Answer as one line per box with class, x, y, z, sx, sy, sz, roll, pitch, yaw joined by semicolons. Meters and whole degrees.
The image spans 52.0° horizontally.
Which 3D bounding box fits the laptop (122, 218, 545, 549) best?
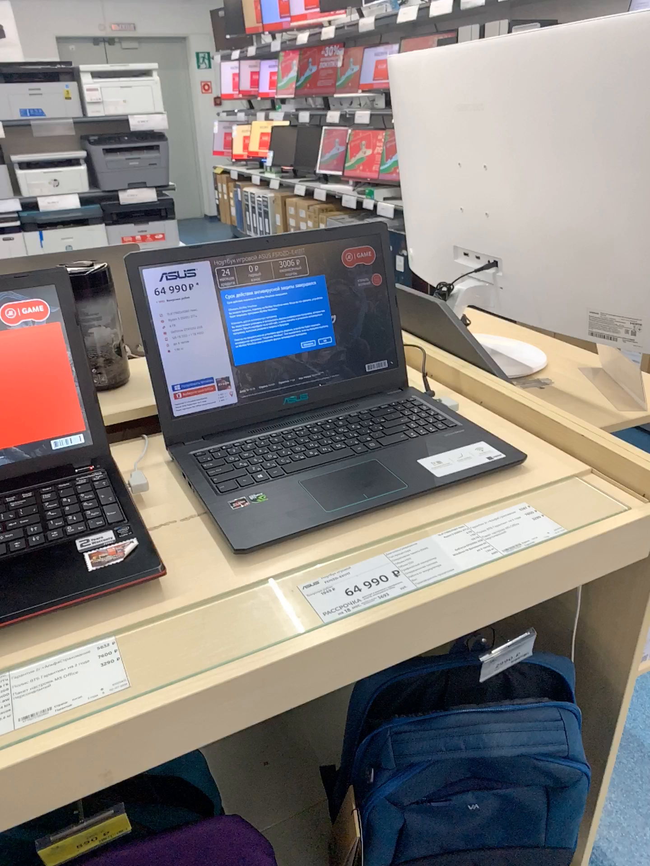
laptop;-0.004;-0.095;0.787;0.358;0.222;0.319;-15;30;-24
